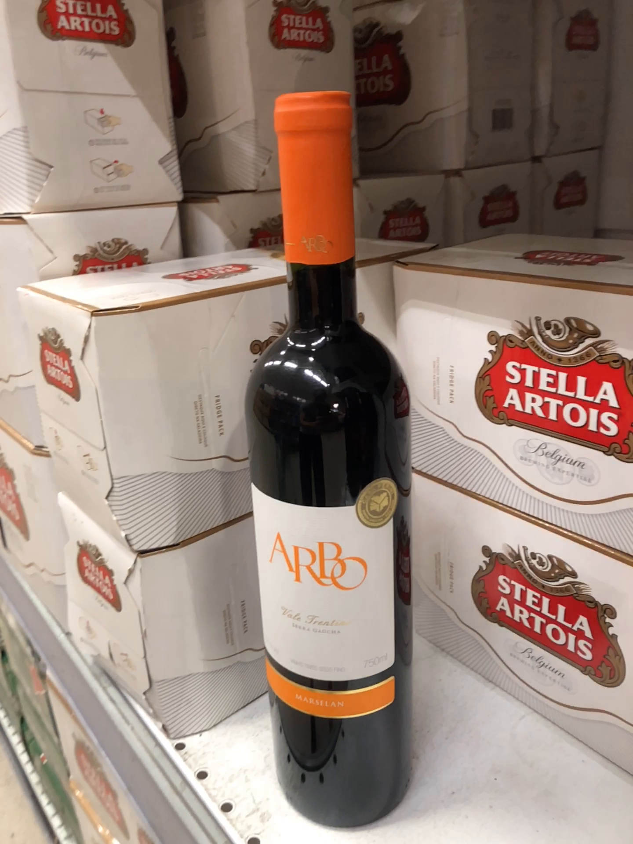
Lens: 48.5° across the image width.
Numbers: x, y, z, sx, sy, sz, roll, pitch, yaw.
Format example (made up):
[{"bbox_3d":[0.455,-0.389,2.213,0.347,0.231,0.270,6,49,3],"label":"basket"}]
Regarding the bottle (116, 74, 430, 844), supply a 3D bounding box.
[{"bbox_3d":[0.000,0.034,0.288,0.080,0.308,0.070,1,23,15],"label":"bottle"}]
